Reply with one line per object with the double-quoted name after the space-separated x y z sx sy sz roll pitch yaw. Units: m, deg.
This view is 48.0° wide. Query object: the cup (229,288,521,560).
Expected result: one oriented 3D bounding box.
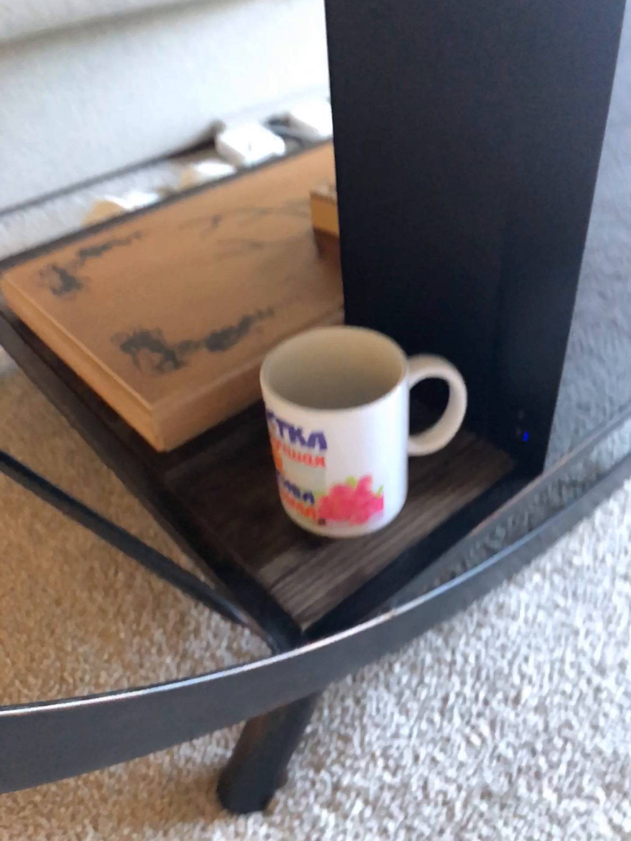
0.032 0.000 0.428 0.140 0.100 0.090 -14 41 -10 "cup"
